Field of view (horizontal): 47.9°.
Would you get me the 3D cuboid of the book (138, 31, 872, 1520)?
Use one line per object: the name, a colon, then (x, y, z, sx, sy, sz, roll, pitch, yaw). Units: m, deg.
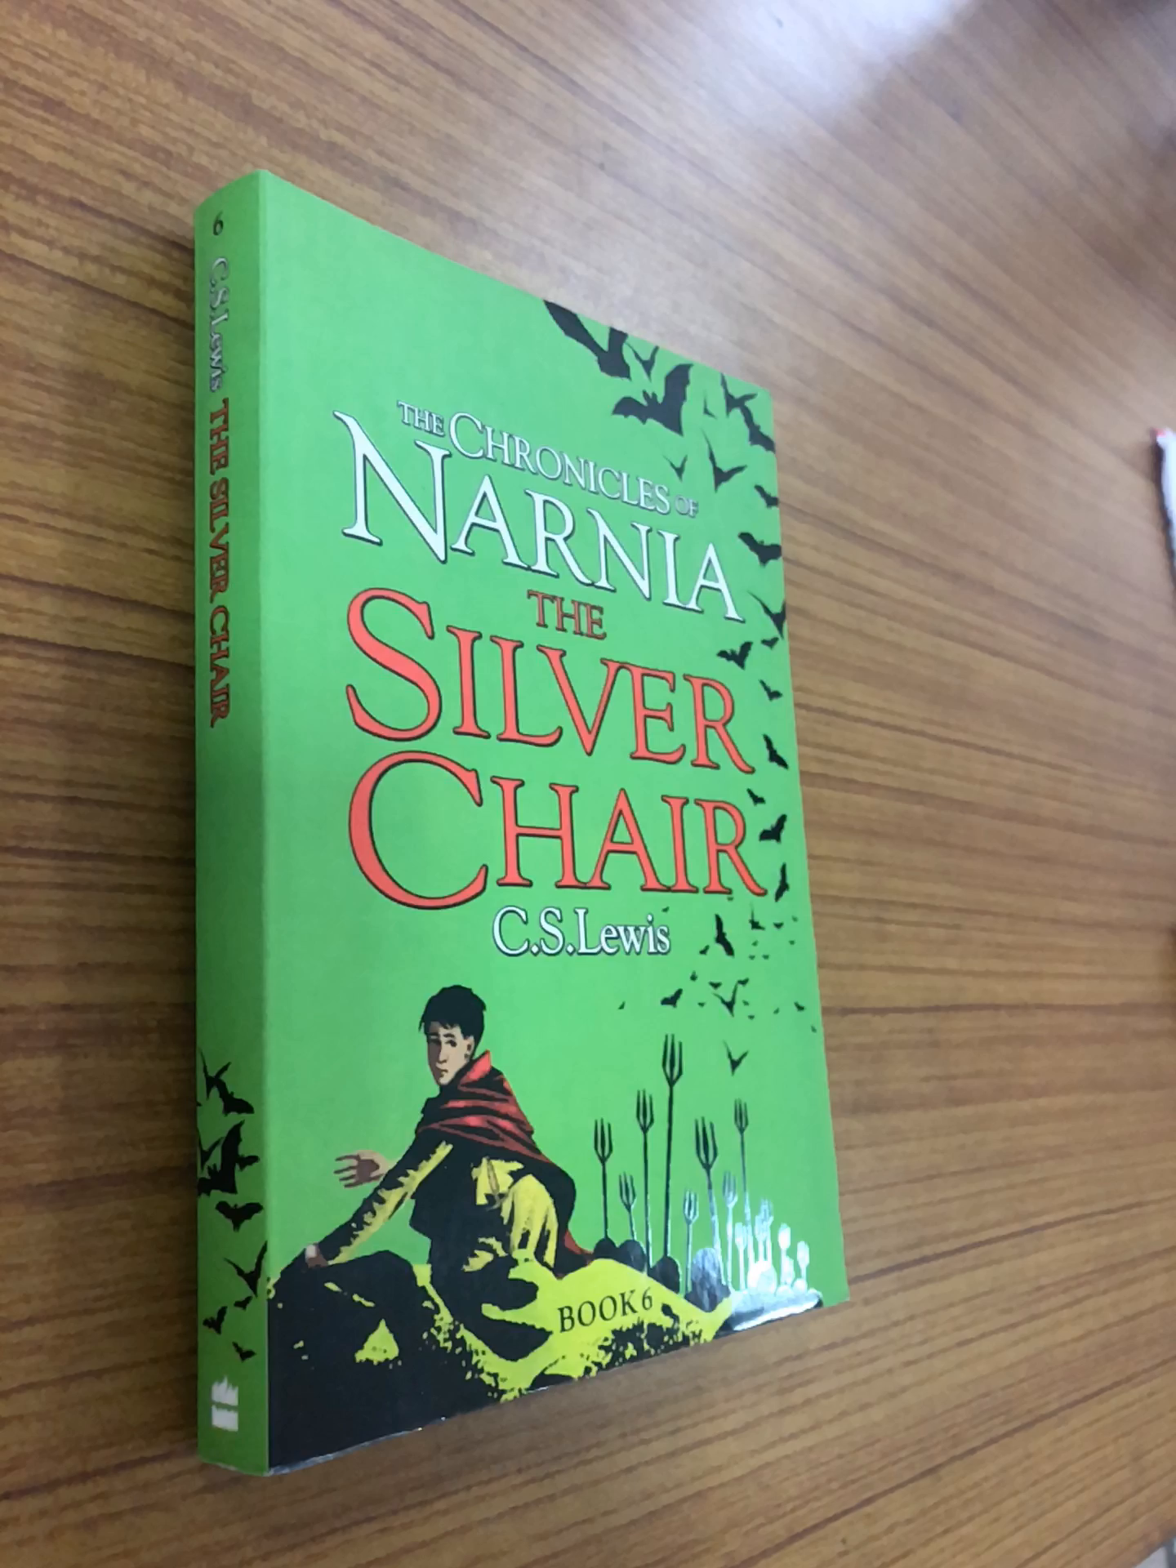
book: (-0.009, -0.003, 0.243, 0.141, 0.030, 0.210, 7, 76, -45)
